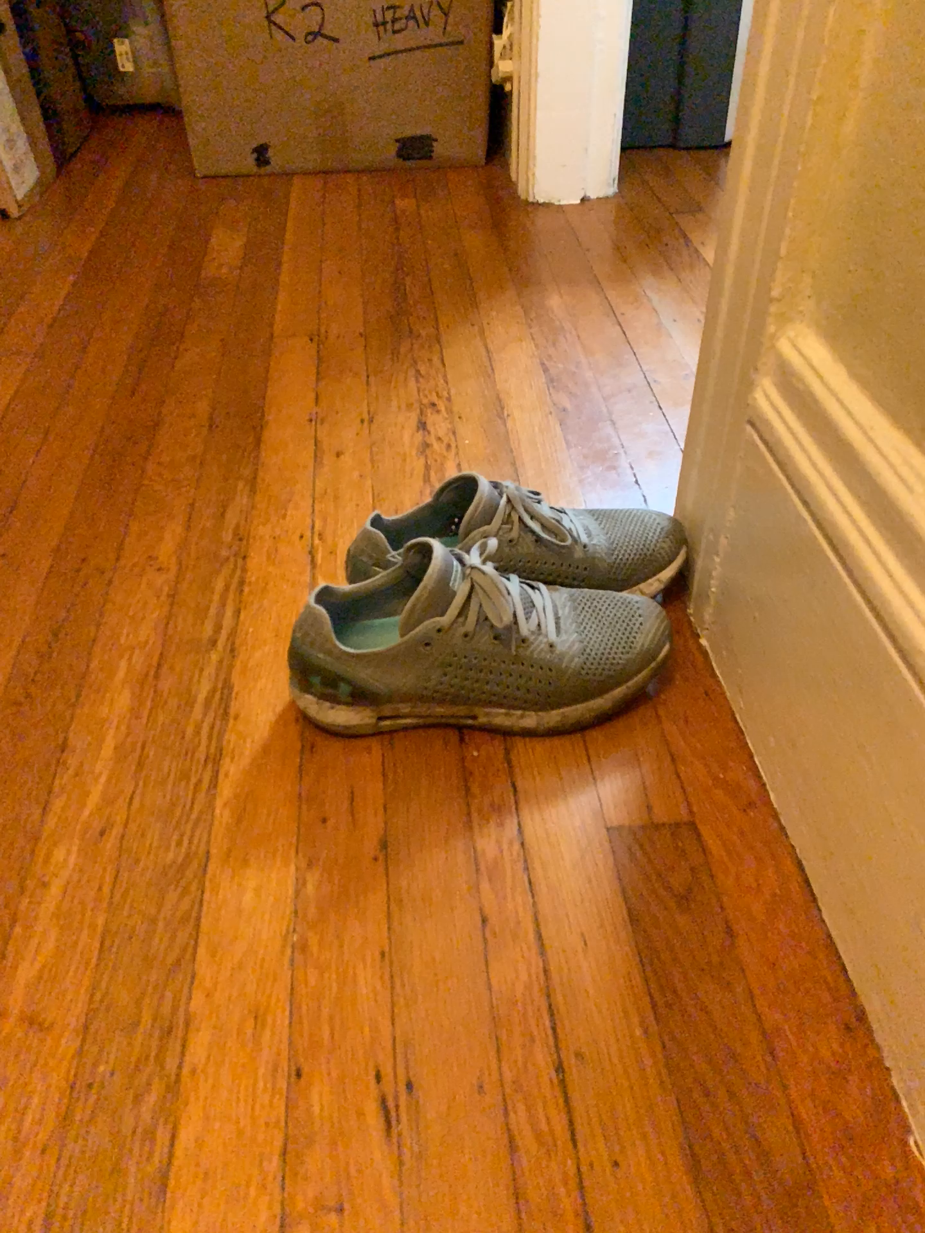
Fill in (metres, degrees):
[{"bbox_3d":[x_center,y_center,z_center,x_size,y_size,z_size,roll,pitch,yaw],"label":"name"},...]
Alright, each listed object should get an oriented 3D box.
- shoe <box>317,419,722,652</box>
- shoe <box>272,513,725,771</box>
[{"bbox_3d":[0.036,-0.063,0.679,0.260,0.080,0.111,-10,42,-10],"label":"shoe"},{"bbox_3d":[0.017,0.013,0.623,0.270,0.089,0.111,-6,41,-6],"label":"shoe"}]
